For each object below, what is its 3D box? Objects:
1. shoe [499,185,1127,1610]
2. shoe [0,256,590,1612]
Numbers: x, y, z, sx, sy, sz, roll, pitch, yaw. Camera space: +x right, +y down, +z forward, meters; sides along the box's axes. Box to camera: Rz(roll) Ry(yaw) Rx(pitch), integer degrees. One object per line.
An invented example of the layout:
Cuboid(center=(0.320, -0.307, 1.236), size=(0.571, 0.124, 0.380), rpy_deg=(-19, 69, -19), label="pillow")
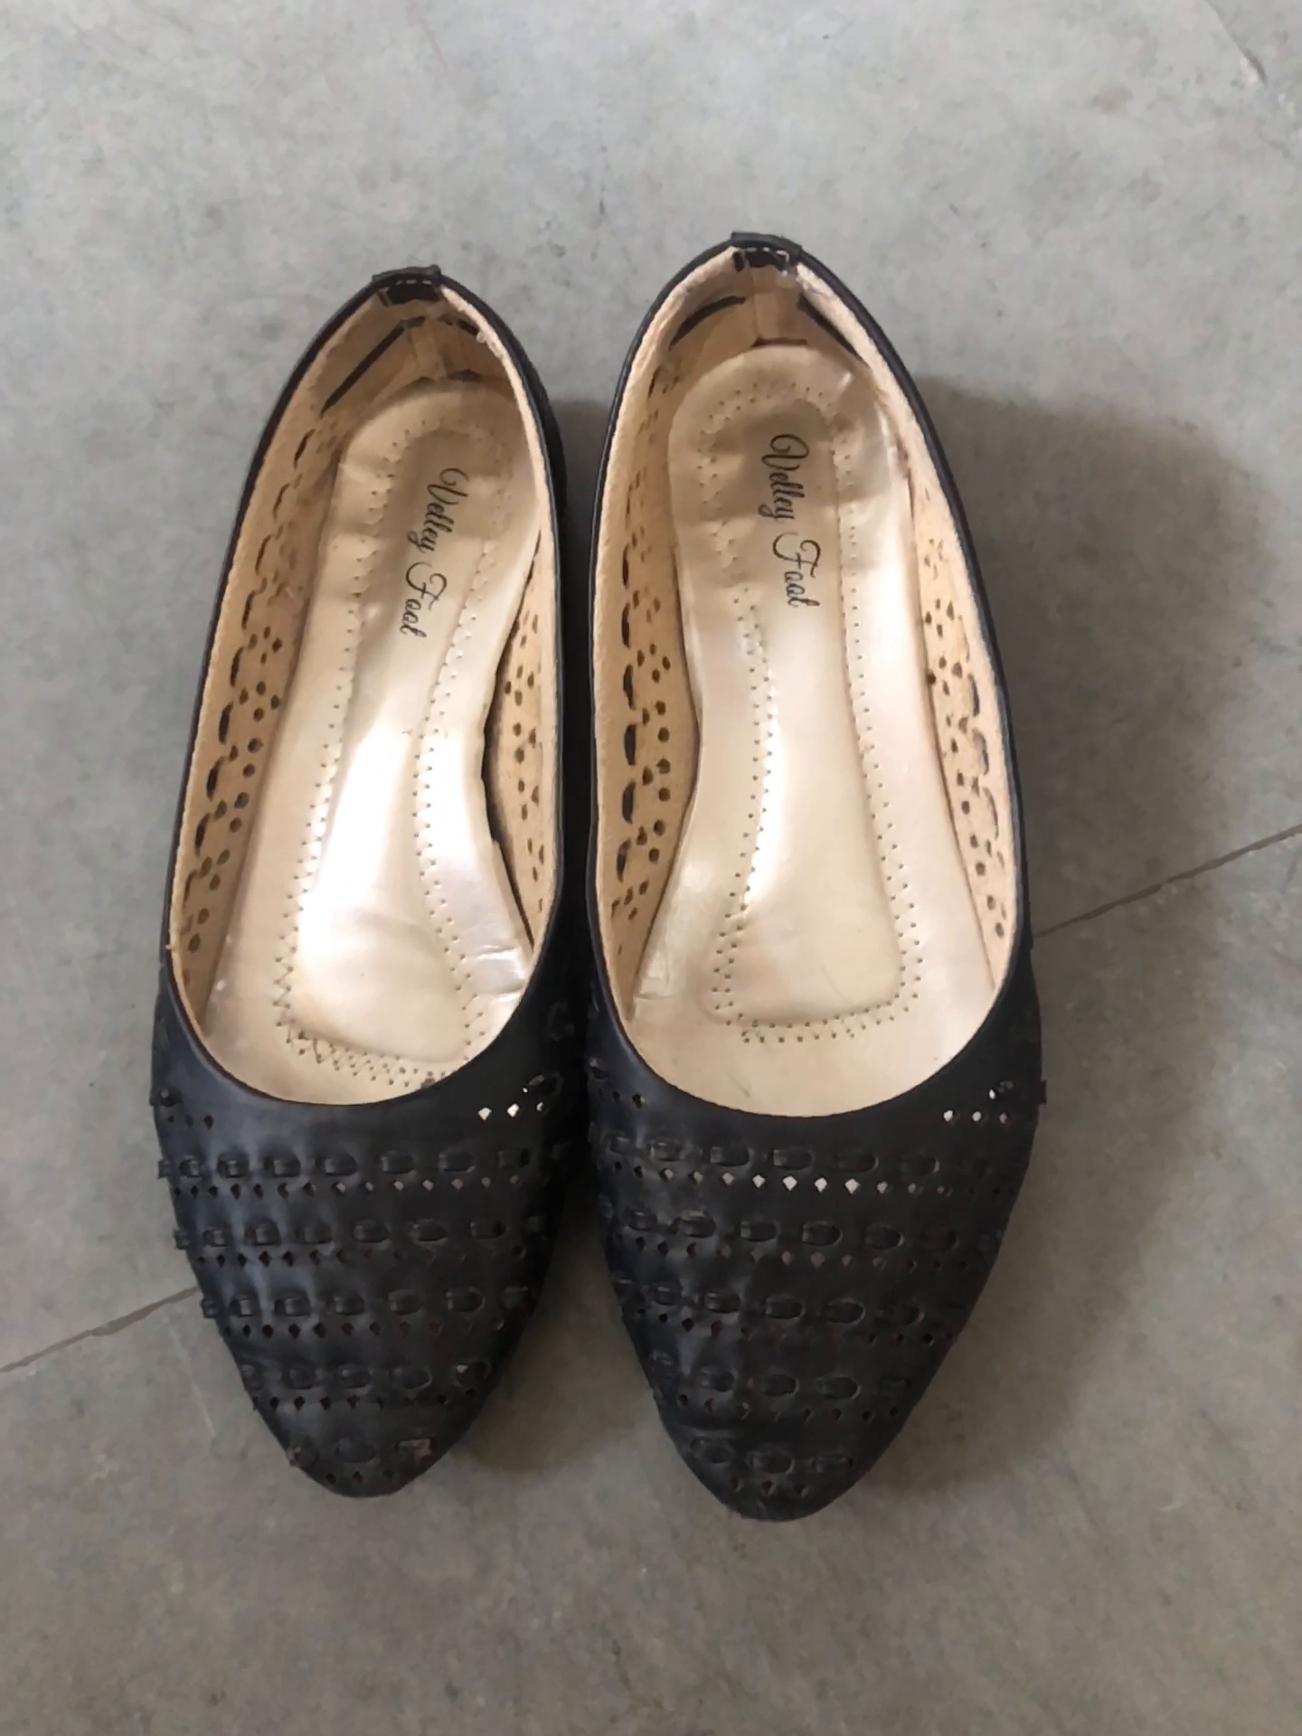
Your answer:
Cuboid(center=(0.027, 0.002, 0.283), size=(0.095, 0.073, 0.242), rpy_deg=(-3, 77, 9), label="shoe")
Cuboid(center=(-0.071, 0.006, 0.292), size=(0.095, 0.062, 0.242), rpy_deg=(0, 77, 9), label="shoe")
